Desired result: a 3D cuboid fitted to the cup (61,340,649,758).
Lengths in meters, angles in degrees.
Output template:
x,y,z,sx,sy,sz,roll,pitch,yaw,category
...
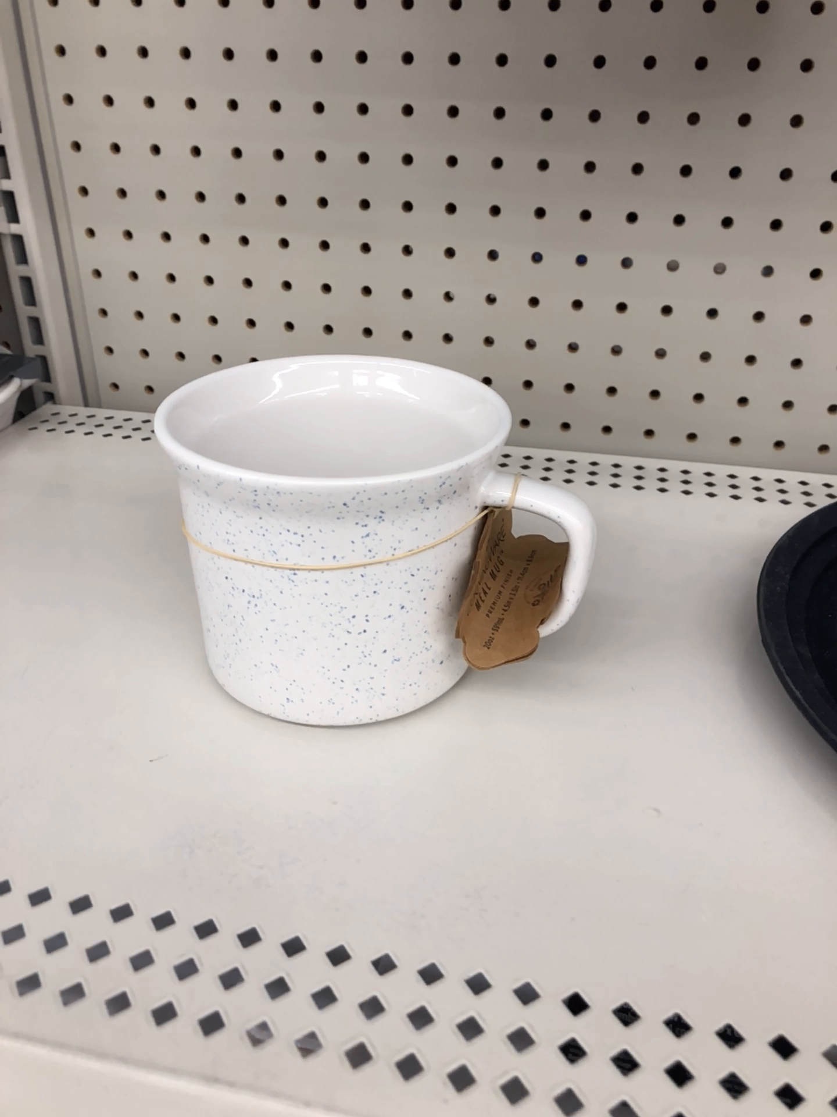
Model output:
x,y,z,sx,sy,sz,roll,pitch,yaw,category
-0.013,-0.010,0.312,0.159,0.090,0.102,5,30,7,cup
